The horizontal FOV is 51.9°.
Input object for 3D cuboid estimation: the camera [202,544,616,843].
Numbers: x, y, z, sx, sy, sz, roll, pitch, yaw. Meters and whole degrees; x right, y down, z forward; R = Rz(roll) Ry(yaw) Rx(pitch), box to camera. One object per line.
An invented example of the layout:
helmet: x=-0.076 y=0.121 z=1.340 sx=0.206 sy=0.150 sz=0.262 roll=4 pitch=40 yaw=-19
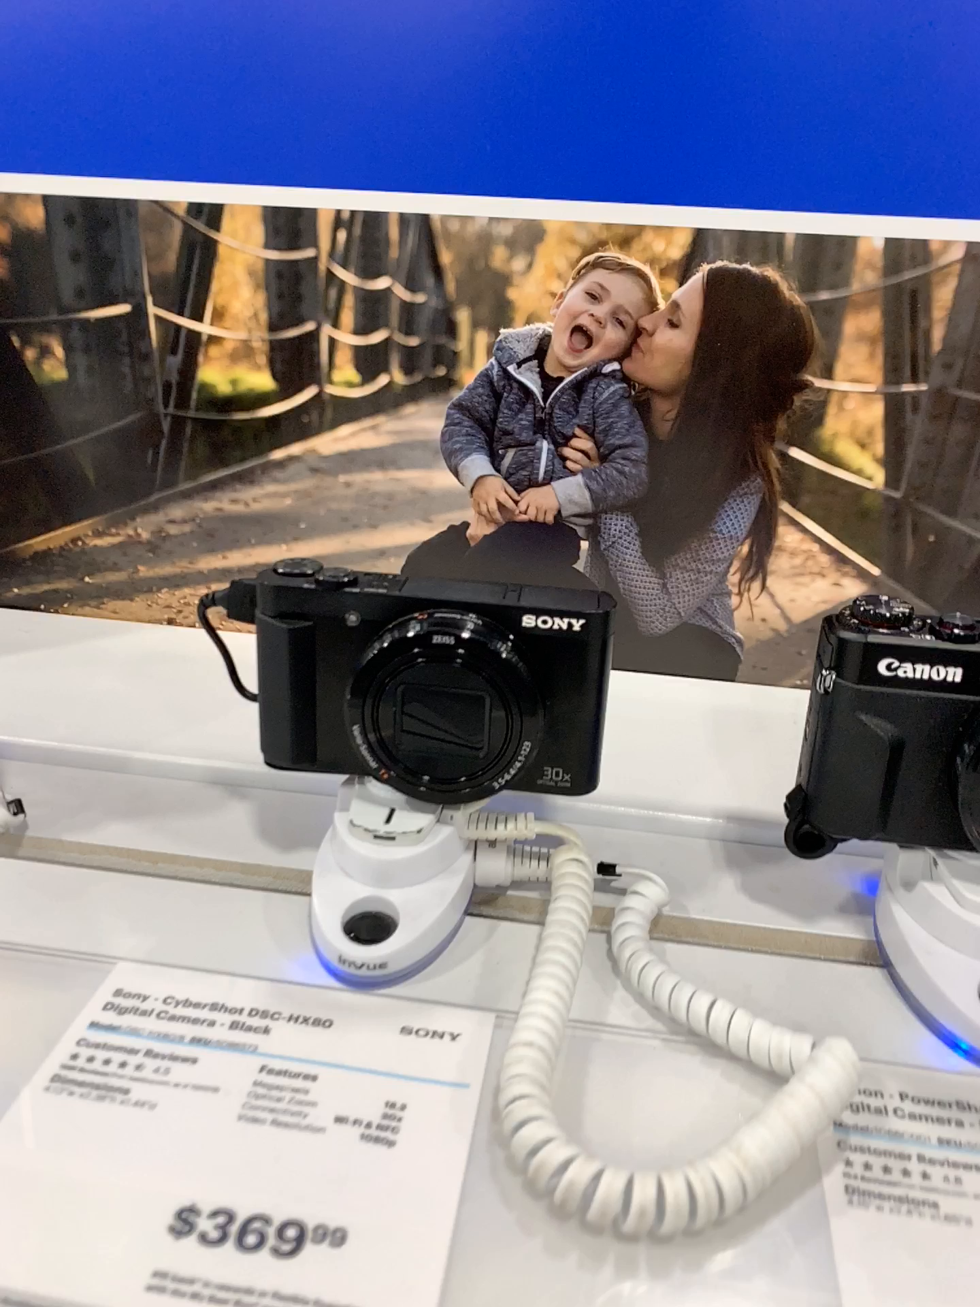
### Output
camera: x=-0.022 y=0.010 z=0.292 sx=0.110 sy=0.070 sz=0.030 roll=5 pitch=22 yaw=7
